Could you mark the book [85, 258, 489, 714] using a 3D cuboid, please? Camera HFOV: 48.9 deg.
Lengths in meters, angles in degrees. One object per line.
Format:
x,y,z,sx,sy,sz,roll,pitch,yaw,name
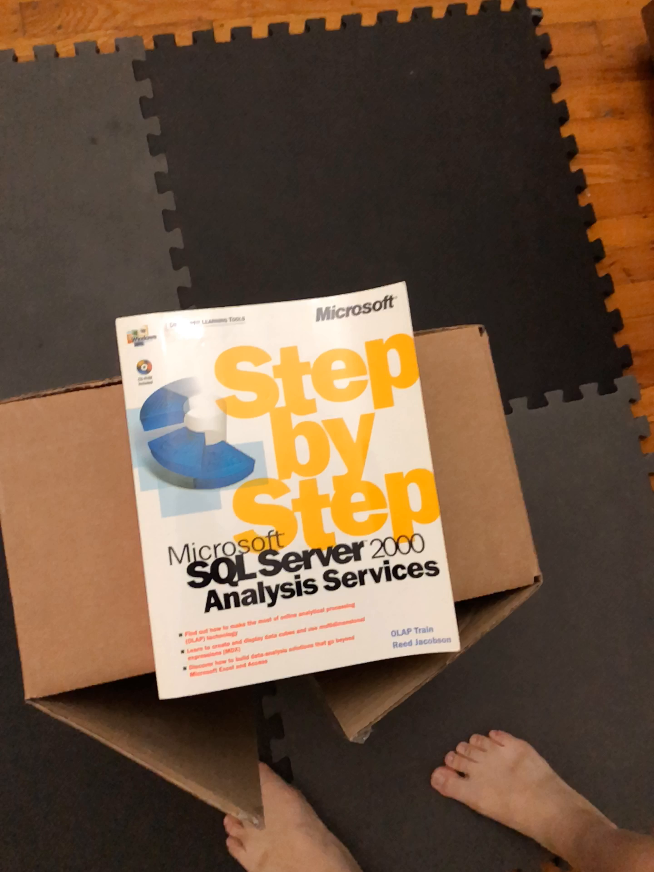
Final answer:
-0.025,0.024,0.467,0.200,0.050,0.240,-13,87,-13,book
